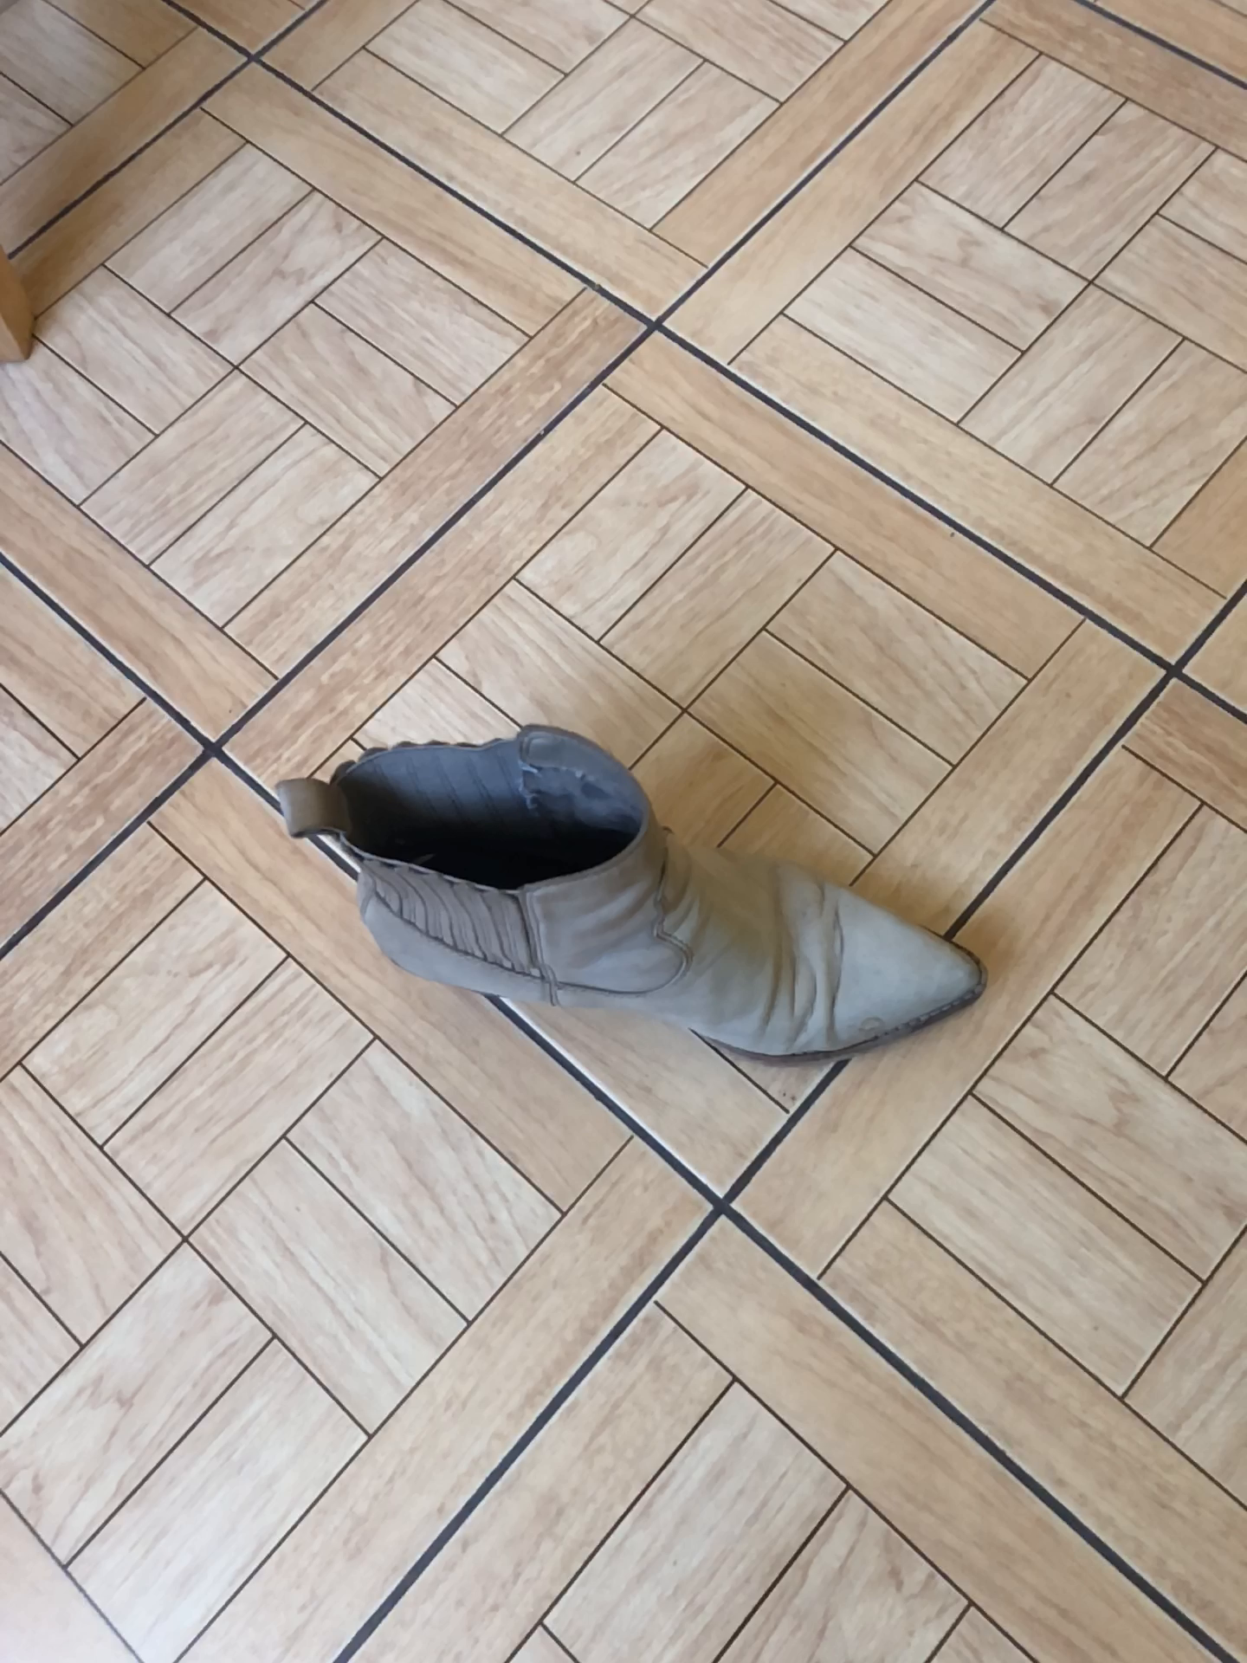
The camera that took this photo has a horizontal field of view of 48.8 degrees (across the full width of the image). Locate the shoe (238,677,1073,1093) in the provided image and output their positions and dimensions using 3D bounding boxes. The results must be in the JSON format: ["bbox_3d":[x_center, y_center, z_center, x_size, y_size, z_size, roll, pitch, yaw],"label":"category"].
[{"bbox_3d":[0.017,0.029,0.525,0.260,0.180,0.090,4,70,6],"label":"shoe"}]
